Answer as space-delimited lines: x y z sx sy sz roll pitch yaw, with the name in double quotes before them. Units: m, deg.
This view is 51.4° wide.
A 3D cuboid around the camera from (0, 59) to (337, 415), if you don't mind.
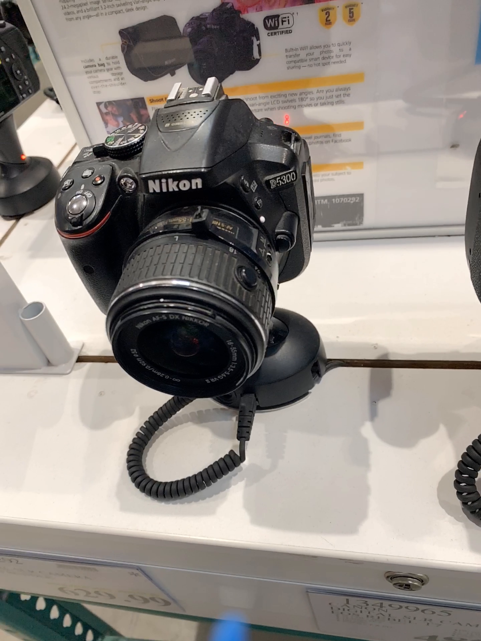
"camera" -0.025 -0.041 0.212 0.120 0.069 0.141 -4 45 10
